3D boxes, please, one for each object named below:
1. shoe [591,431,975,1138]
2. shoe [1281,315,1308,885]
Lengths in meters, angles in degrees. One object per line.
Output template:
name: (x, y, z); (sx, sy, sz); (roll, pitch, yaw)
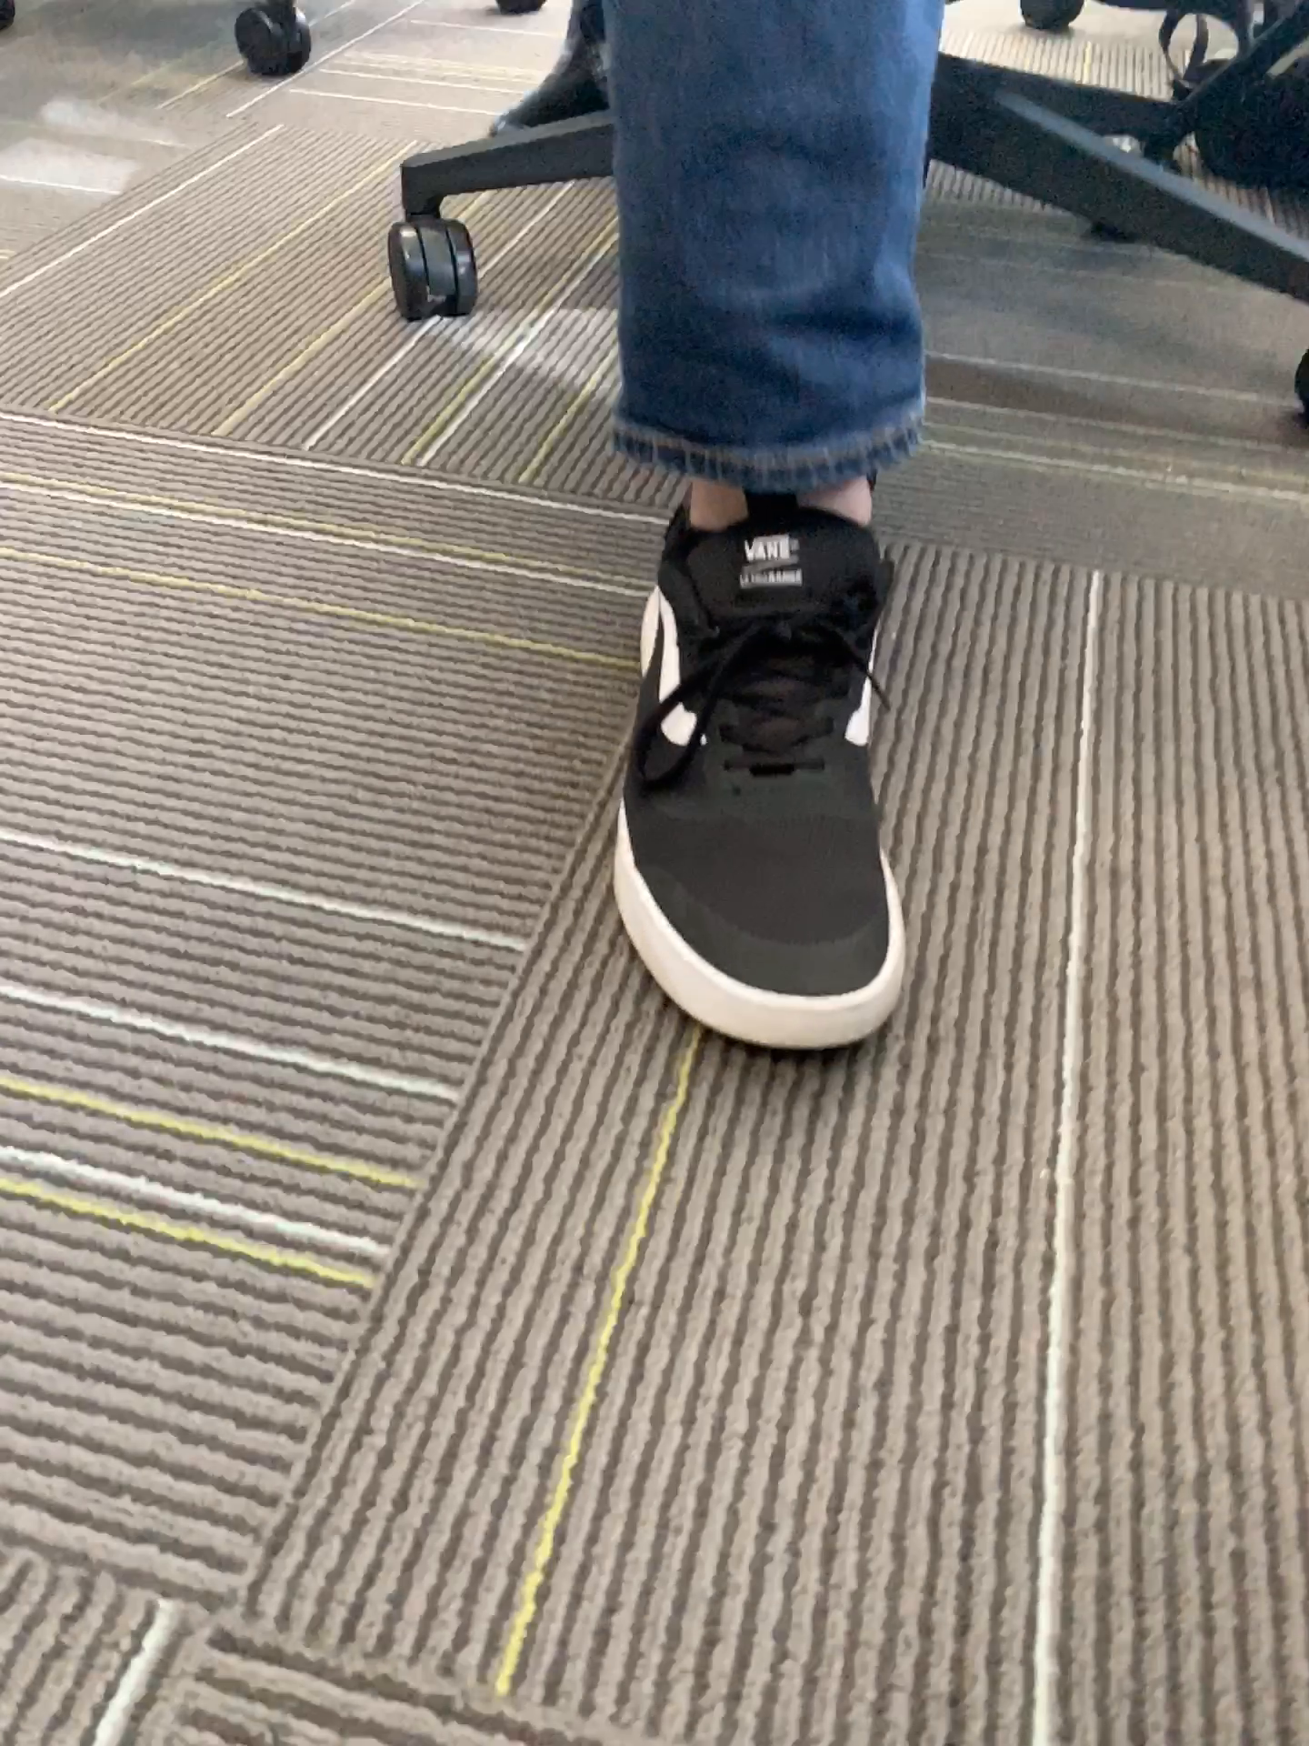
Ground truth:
shoe: (0.038, -0.057, 0.574); (0.120, 0.119, 0.321); (1, 44, -1)
shoe: (0.500, -0.151, 0.659); (0.120, 0.110, 0.321); (-25, 50, -25)
